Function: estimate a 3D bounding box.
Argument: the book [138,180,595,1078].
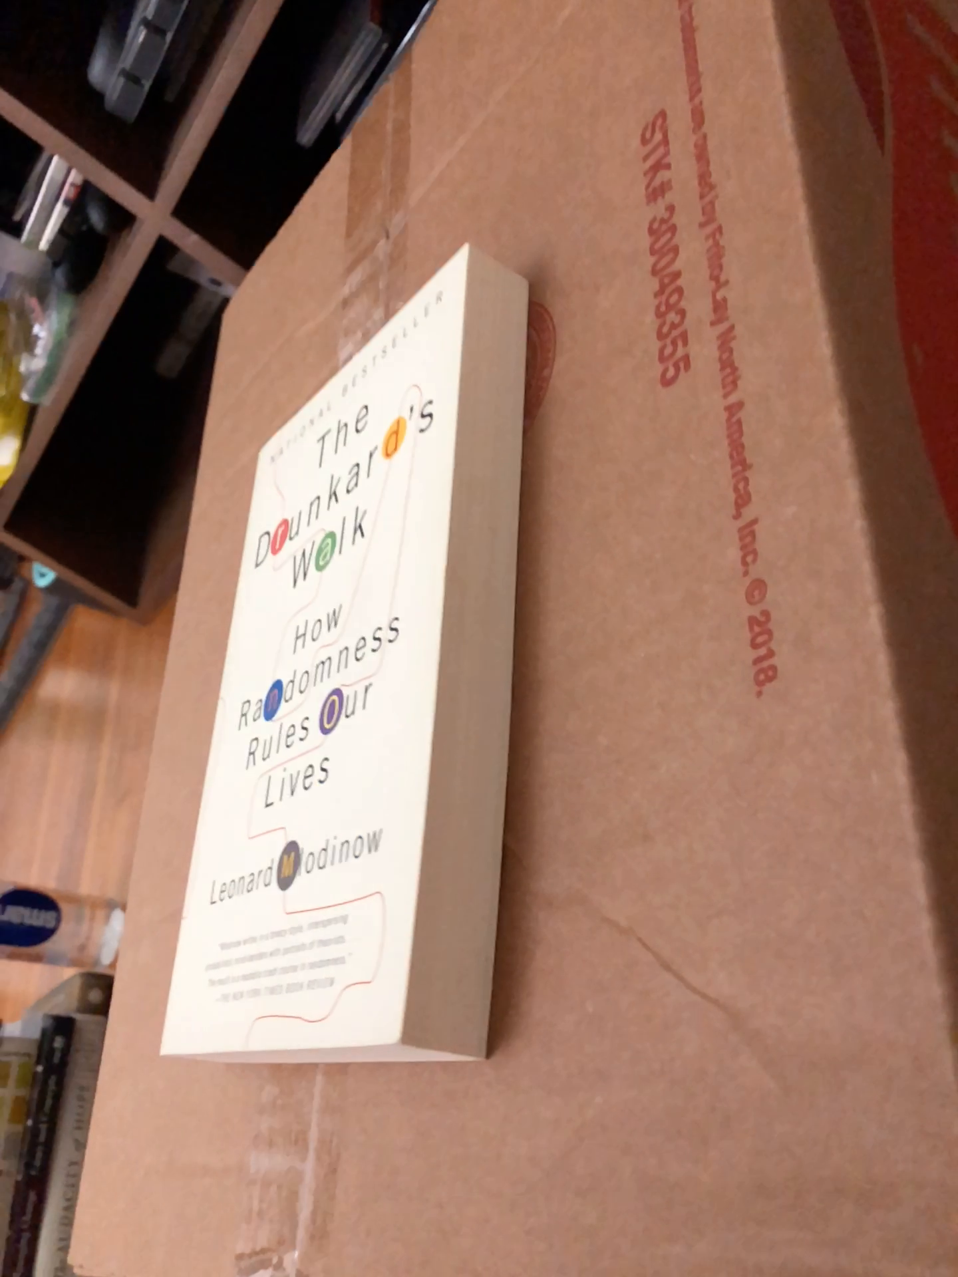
[{"bbox_3d":[-0.031,0.005,0.291,0.140,0.040,0.210,-29,50,49],"label":"book"}]
